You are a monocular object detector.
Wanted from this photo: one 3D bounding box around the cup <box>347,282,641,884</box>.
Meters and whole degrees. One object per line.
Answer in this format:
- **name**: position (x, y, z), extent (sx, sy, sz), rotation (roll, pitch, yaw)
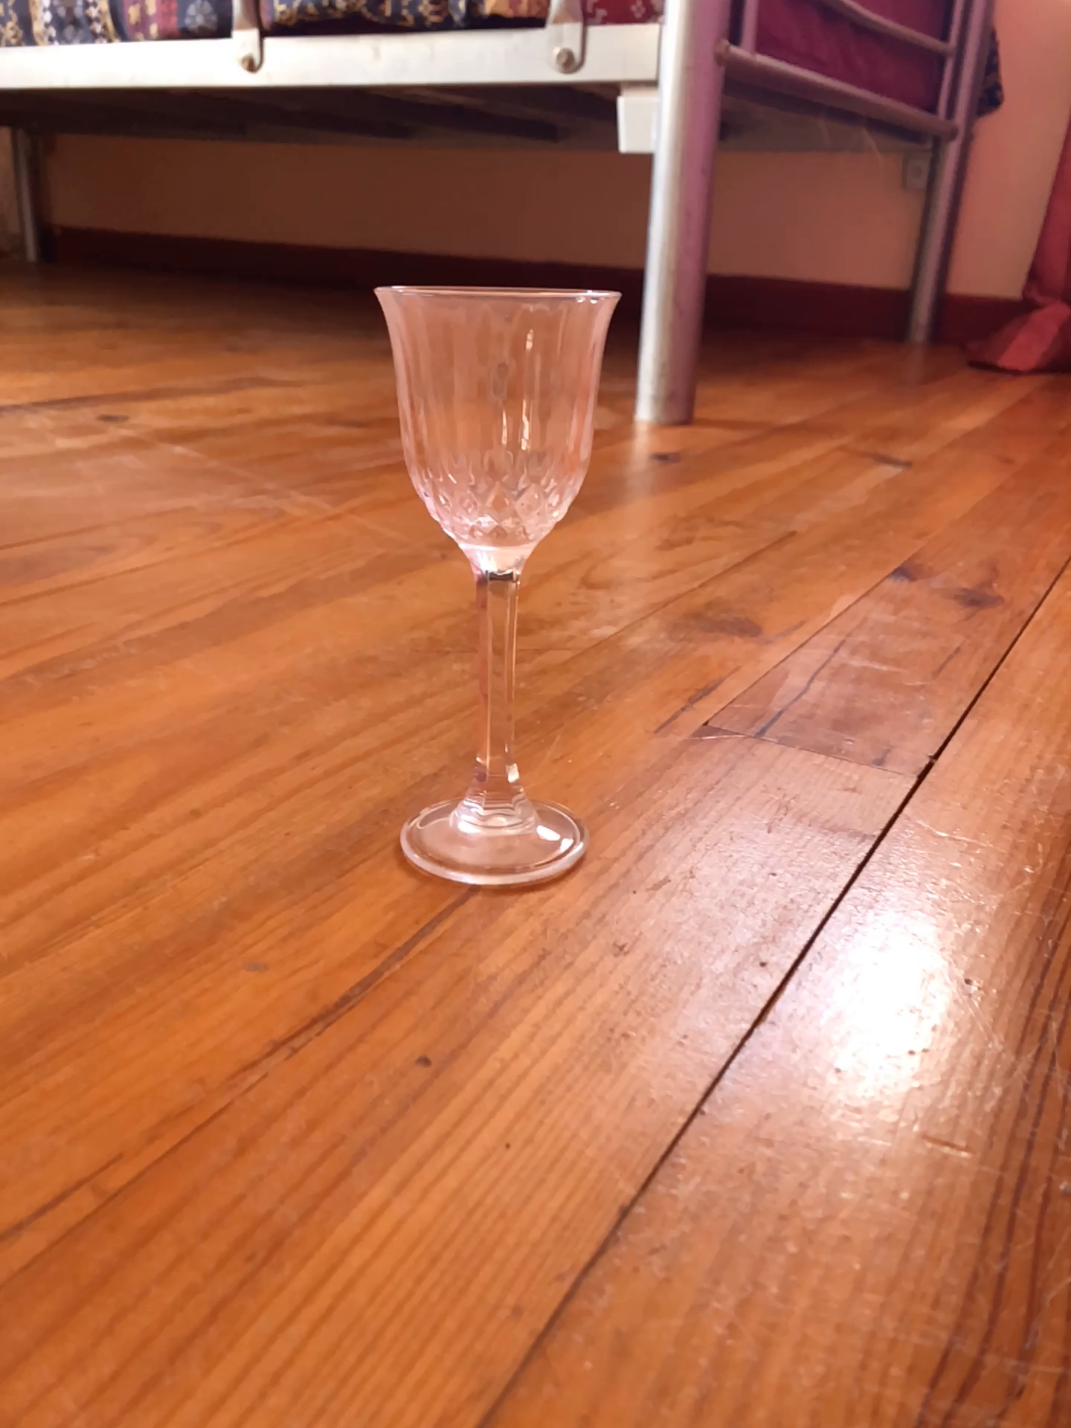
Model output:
- **cup**: position (-0.009, -0.033, 0.286), extent (0.058, 0.133, 0.061), rotation (0, 20, 0)
